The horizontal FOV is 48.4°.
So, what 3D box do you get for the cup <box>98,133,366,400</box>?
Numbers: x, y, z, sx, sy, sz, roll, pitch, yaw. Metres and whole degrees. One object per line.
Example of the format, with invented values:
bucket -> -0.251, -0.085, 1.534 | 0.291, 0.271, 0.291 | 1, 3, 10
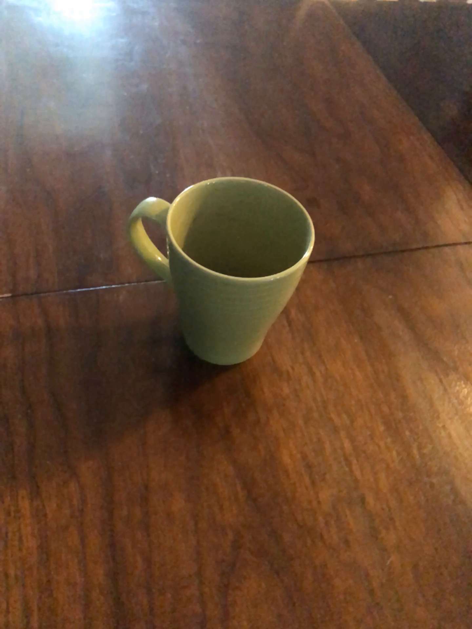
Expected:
cup -> -0.004, -0.030, 0.323 | 0.120, 0.090, 0.090 | 25, 53, 11
